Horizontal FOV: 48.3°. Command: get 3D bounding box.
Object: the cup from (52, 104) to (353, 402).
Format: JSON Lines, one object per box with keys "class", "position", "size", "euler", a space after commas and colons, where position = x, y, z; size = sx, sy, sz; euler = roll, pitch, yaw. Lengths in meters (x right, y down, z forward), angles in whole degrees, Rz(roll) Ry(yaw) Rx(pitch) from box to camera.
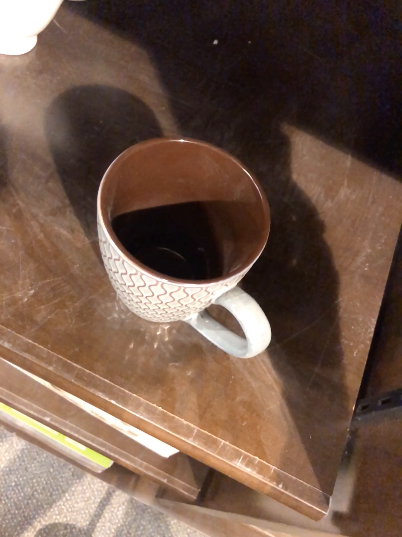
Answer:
{"class": "cup", "position": [-0.005, -0.003, 0.274], "size": [0.132, 0.098, 0.085], "euler": [41, 66, 7]}
